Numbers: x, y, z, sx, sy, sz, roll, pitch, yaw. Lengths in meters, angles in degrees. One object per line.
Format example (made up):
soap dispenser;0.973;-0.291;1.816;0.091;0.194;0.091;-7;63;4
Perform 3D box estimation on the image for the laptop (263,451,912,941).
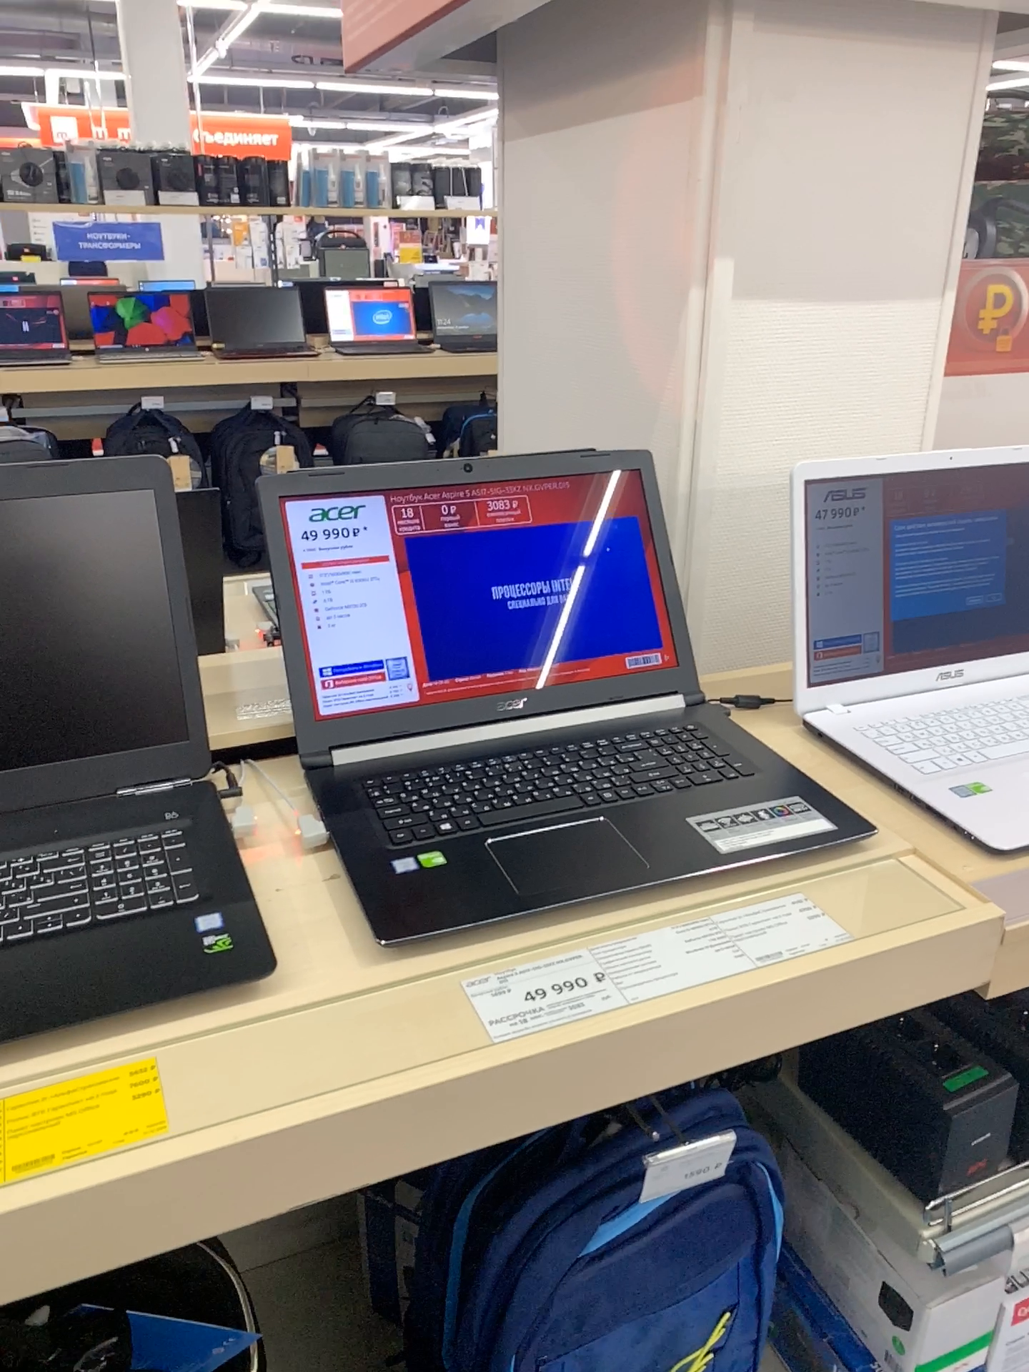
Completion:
laptop;0.030;-0.040;0.945;0.420;0.235;0.422;-8;25;-21
